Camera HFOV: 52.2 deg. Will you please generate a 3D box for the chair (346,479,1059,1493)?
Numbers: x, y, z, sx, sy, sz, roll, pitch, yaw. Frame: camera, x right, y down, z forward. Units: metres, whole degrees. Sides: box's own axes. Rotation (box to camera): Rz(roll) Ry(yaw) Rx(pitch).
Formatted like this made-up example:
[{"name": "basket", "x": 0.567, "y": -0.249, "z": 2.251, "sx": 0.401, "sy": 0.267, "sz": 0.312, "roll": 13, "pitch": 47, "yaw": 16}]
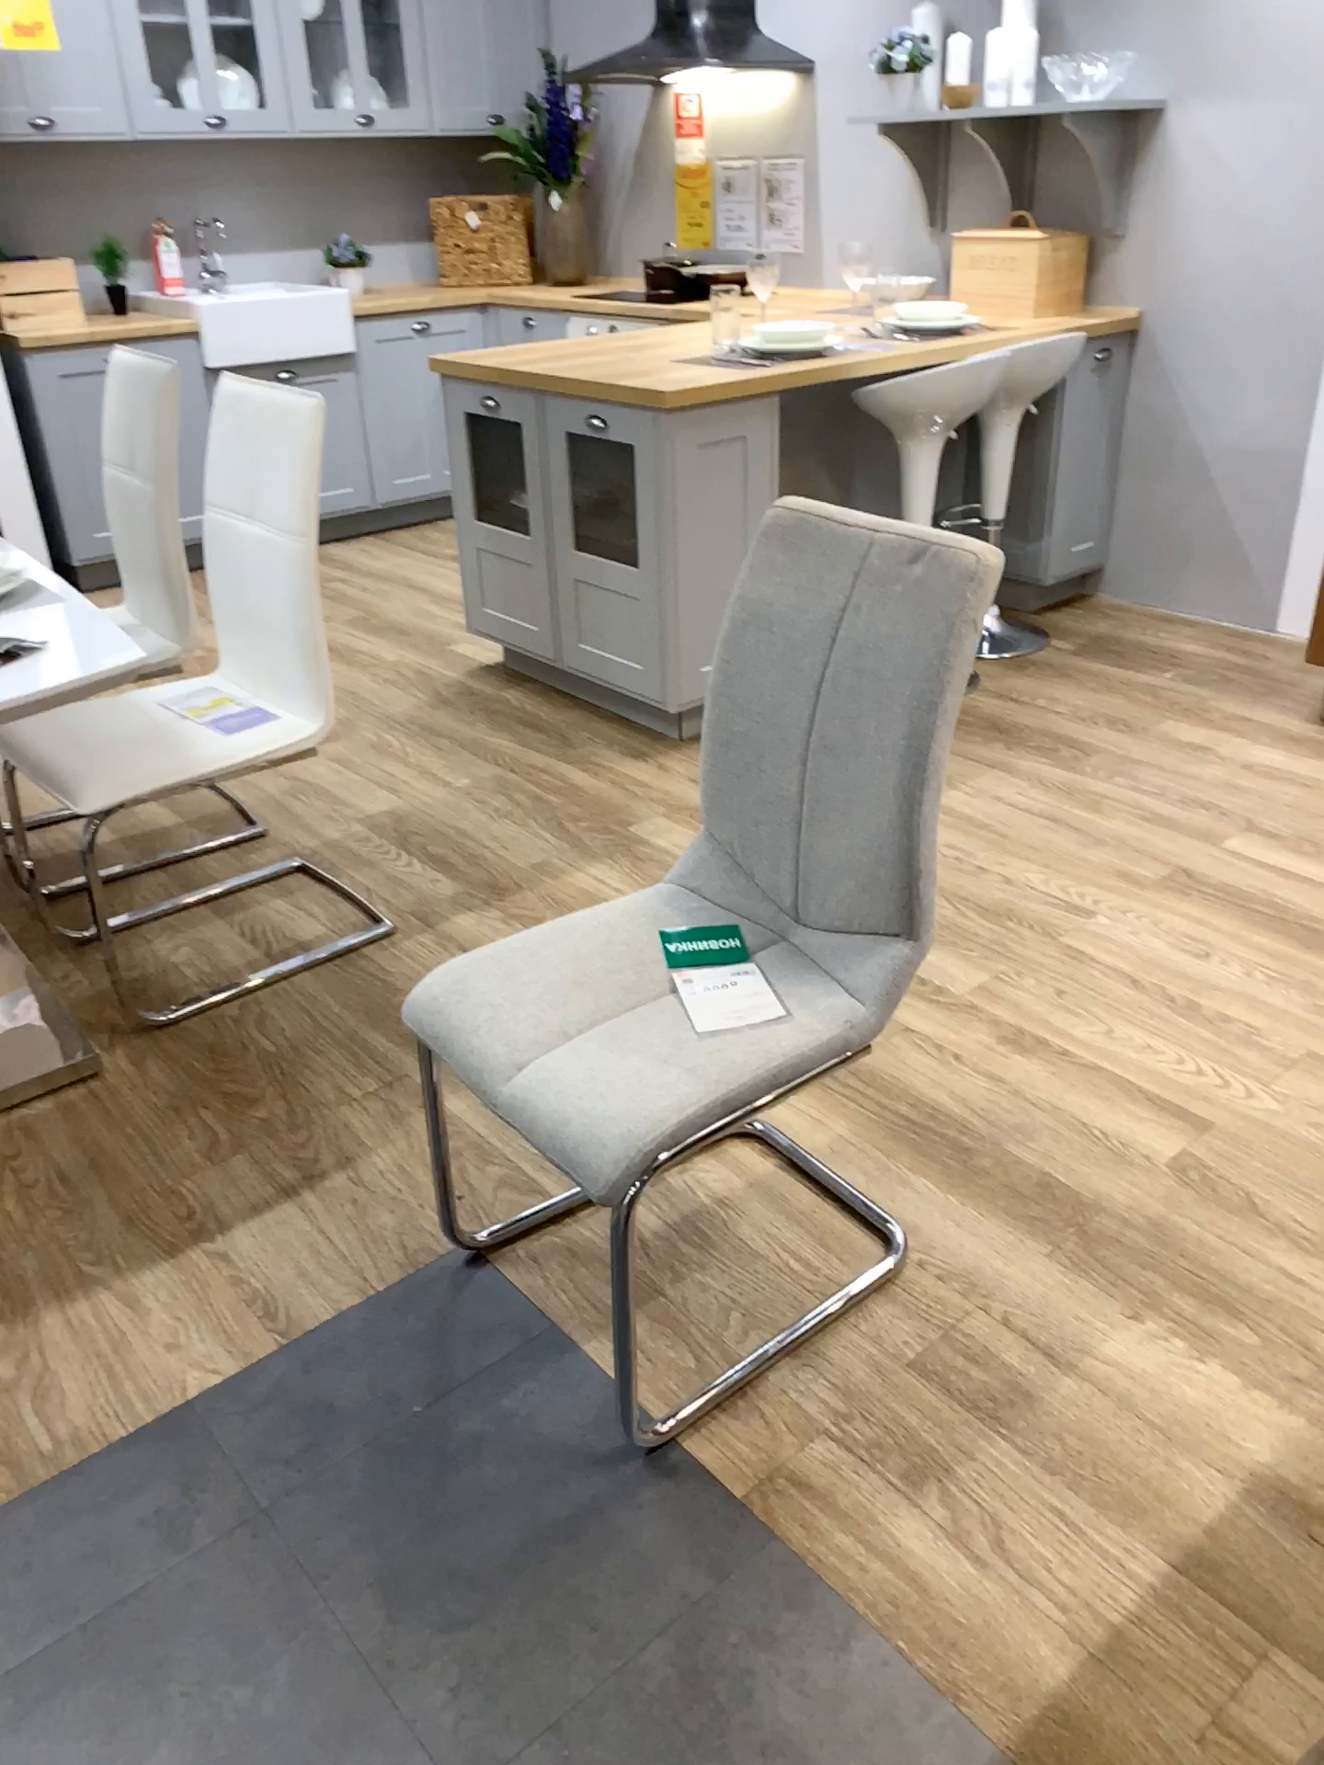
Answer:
[{"name": "chair", "x": 0.050, "y": 0.088, "z": 1.652, "sx": 0.571, "sy": 0.984, "sz": 0.491, "roll": -21, "pitch": 33, "yaw": -32}]
